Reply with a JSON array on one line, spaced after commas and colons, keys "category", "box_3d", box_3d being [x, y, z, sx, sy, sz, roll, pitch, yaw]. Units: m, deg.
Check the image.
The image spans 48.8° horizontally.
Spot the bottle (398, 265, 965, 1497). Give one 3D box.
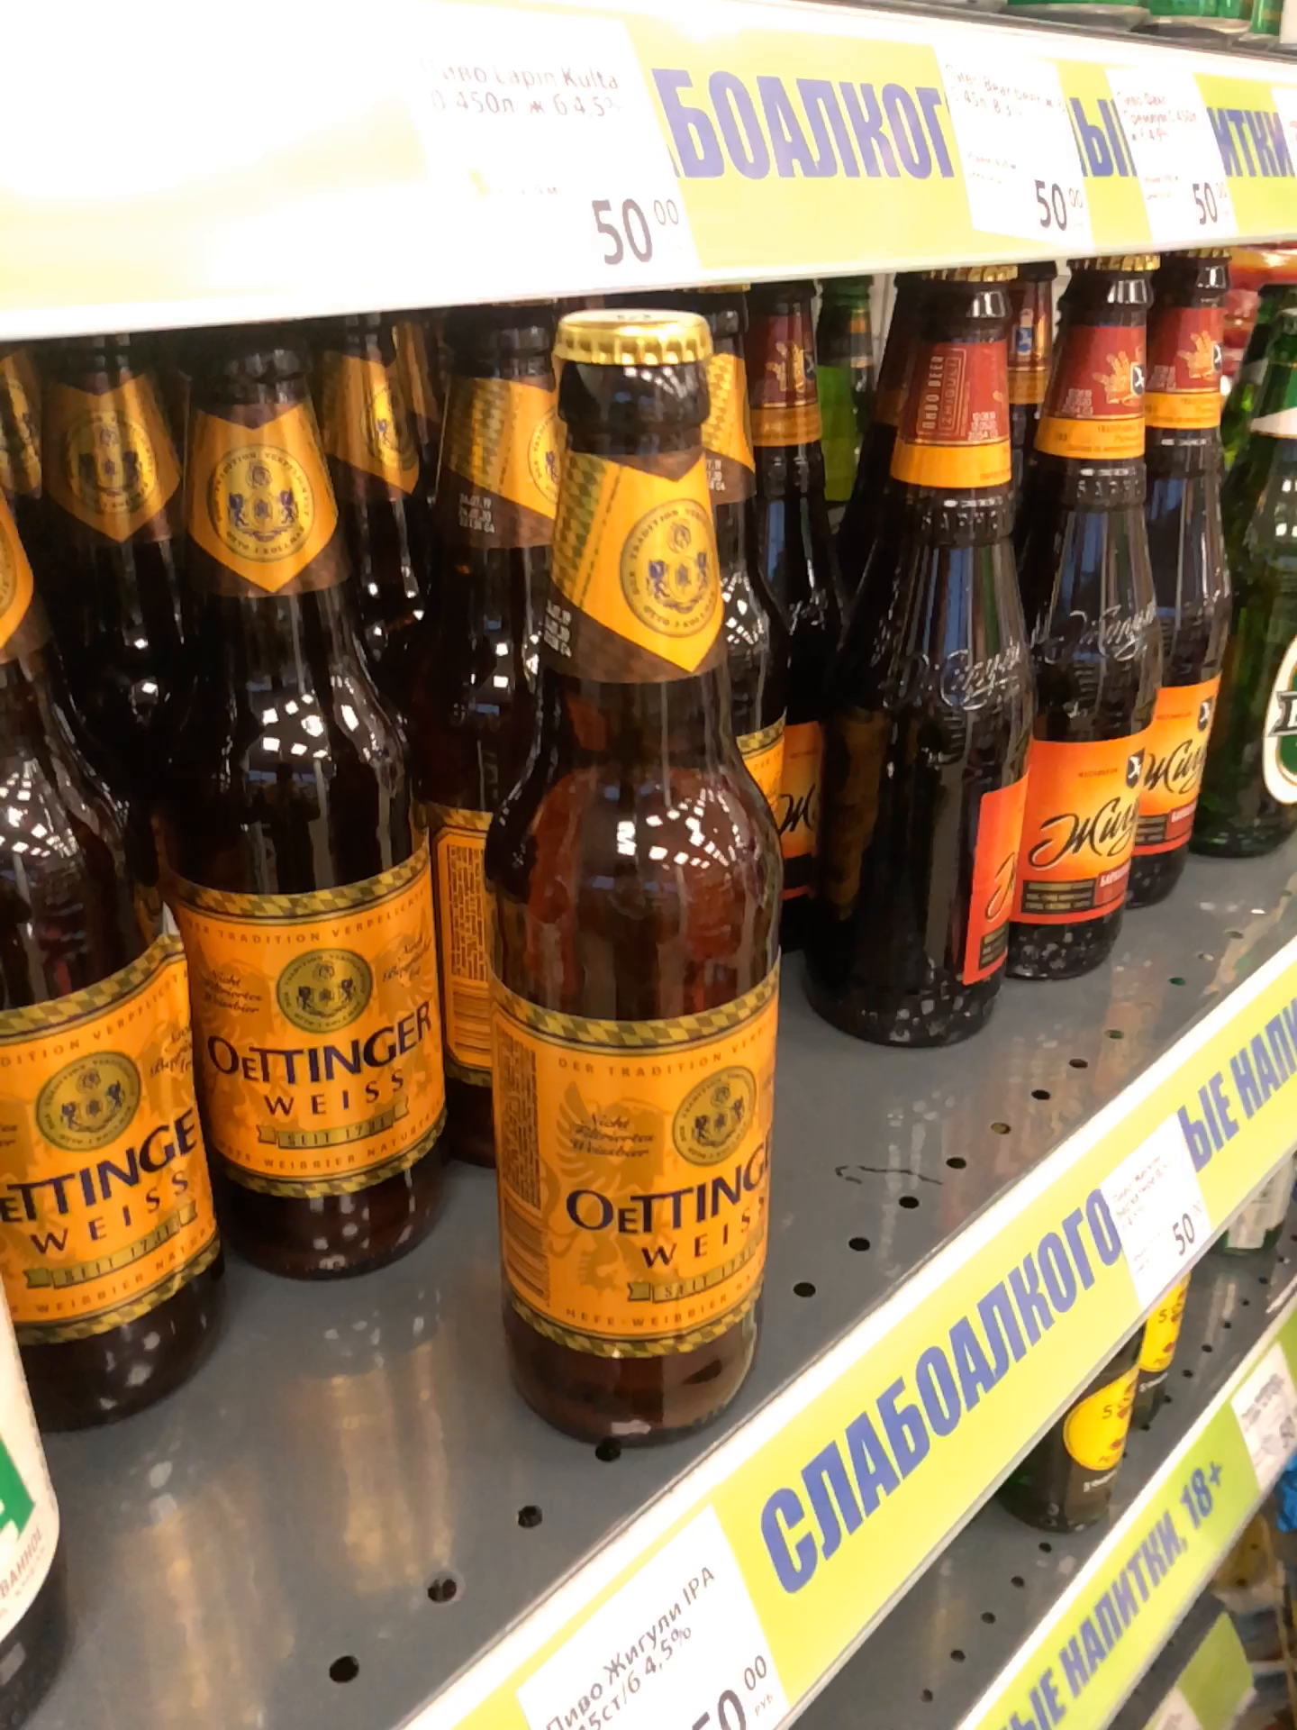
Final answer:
[{"category": "bottle", "box_3d": [0.000, 0.008, 0.303, 0.072, 0.243, 0.070, 2, 26, -1]}]
